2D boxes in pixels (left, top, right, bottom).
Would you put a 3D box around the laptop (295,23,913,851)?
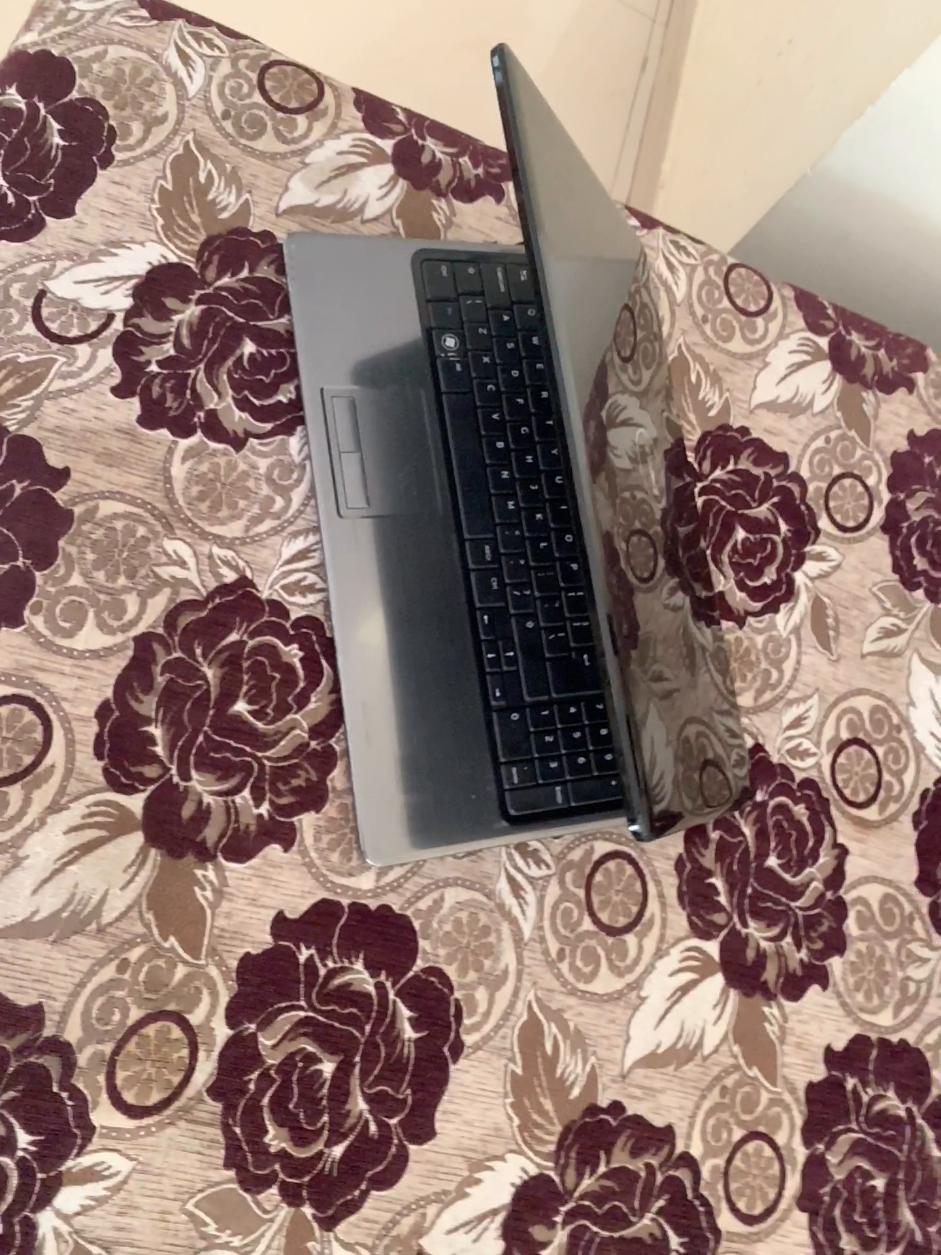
[{"bbox_3d":[0.049,-0.088,0.513,0.220,0.155,0.364,-4,77,-21],"label":"laptop"}]
